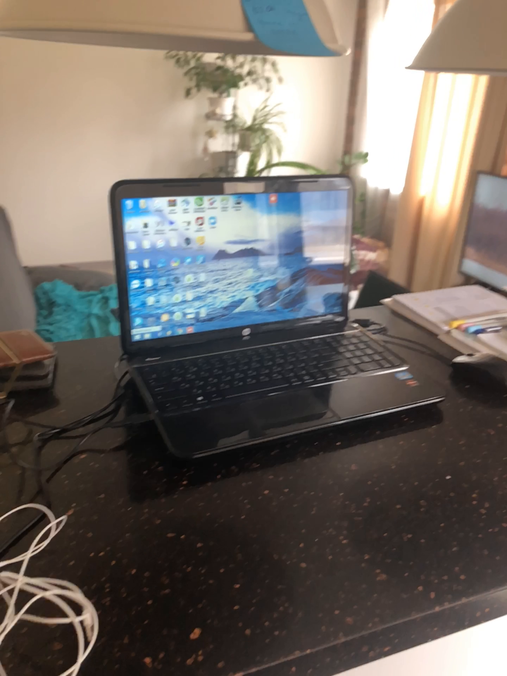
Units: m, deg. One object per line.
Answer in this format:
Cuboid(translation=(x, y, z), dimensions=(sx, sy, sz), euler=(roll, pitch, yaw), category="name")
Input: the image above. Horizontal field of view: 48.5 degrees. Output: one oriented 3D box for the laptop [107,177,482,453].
Cuboid(translation=(0.034, -0.063, 0.710), dimensions=(0.361, 0.217, 0.268), euler=(-9, 27, -24), category="laptop")
